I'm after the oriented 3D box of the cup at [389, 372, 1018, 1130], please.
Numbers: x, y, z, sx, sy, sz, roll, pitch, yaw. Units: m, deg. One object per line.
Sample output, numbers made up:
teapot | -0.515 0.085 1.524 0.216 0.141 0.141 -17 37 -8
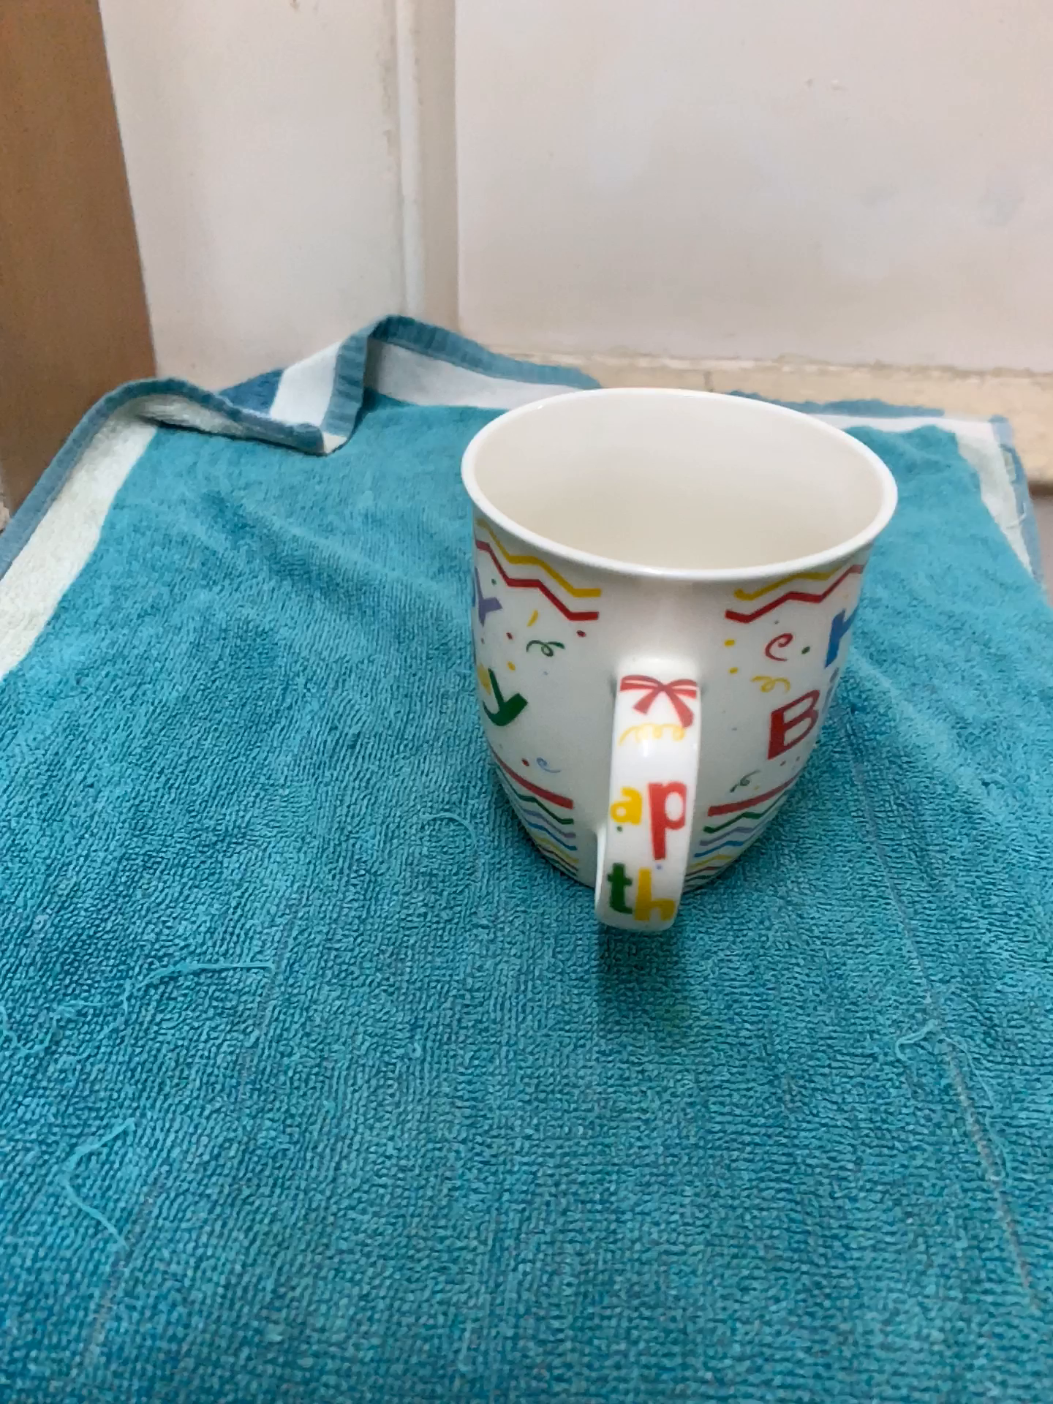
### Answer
cup | 0.029 0.001 0.239 0.090 0.099 0.131 4 35 4
